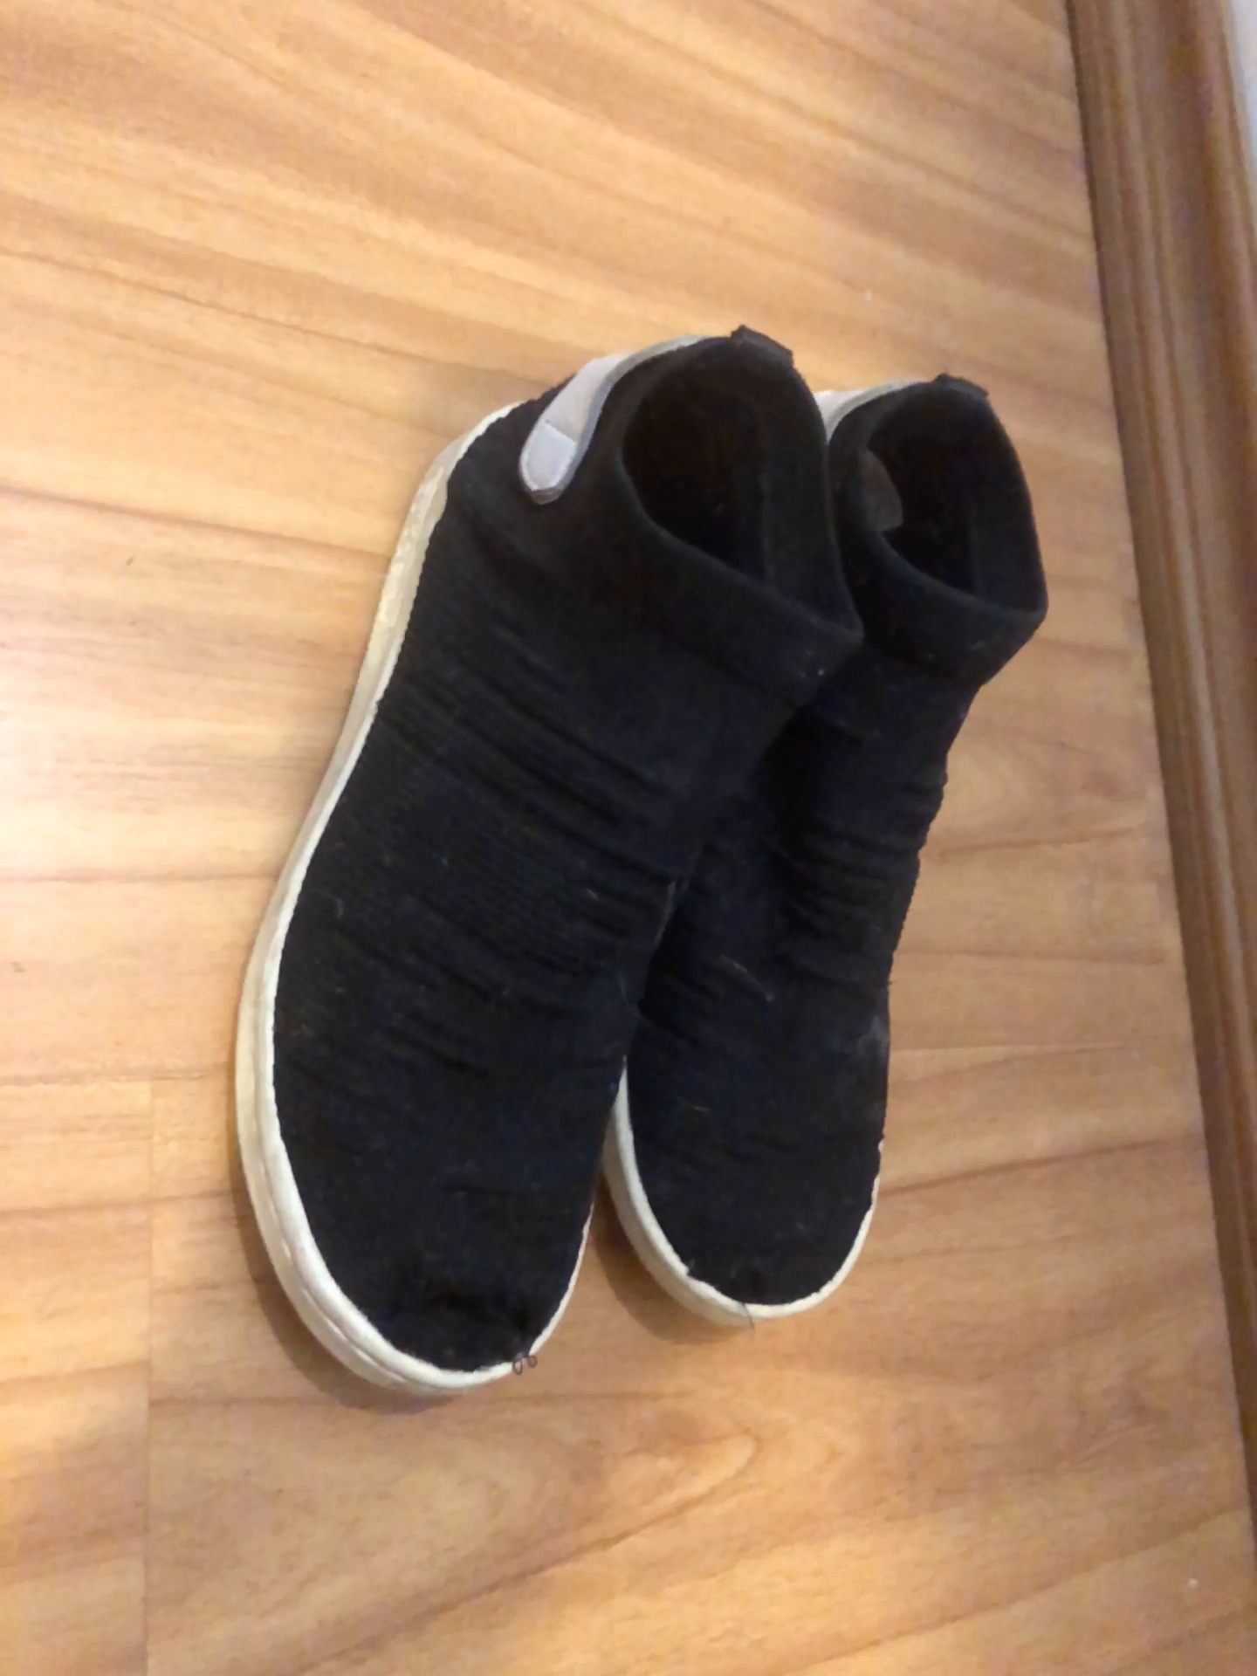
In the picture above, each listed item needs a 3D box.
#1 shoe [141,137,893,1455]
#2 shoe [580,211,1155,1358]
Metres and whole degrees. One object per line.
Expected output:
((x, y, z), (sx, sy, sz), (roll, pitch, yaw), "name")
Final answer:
((-0.021, -0.006, 0.330), (0.100, 0.099, 0.260), (18, 71, -29), "shoe")
((0.060, -0.008, 0.374), (0.100, 0.099, 0.260), (9, 76, -31), "shoe")
